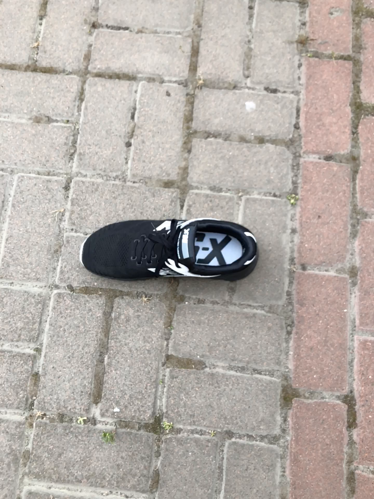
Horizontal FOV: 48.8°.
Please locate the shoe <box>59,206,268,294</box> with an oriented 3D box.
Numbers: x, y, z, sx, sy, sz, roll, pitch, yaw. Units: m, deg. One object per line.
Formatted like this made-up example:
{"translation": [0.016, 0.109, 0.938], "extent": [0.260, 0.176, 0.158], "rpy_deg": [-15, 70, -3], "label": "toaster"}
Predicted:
{"translation": [-0.030, 0.006, 0.624], "extent": [0.280, 0.130, 0.100], "rpy_deg": [2, 79, 1], "label": "shoe"}
